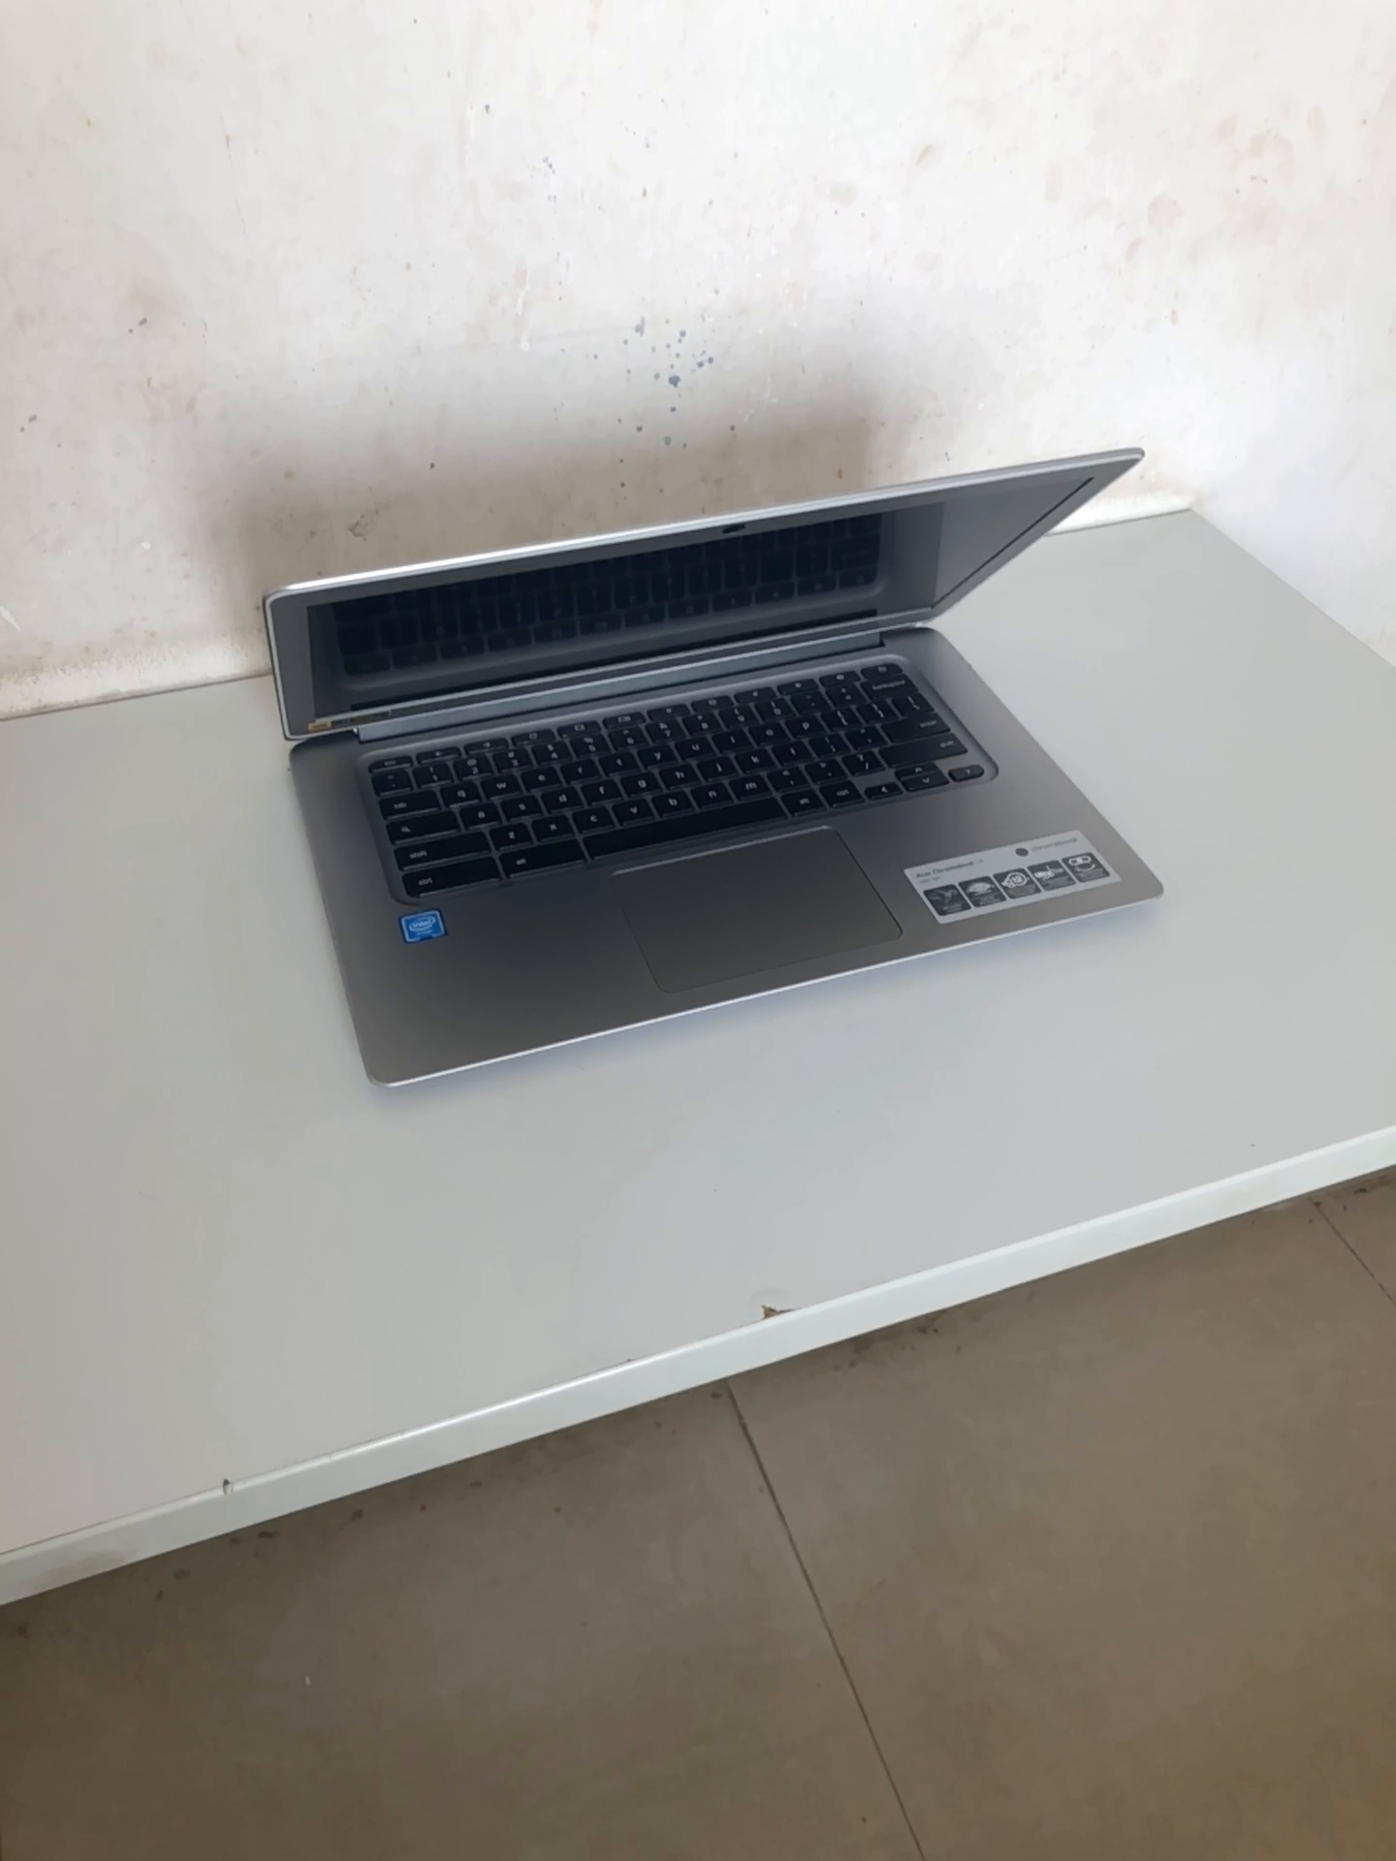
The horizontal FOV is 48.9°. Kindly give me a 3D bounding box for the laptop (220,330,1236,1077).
[{"bbox_3d":[-0.001,-0.110,0.627,0.326,0.155,0.223,-13,43,-14],"label":"laptop"}]
